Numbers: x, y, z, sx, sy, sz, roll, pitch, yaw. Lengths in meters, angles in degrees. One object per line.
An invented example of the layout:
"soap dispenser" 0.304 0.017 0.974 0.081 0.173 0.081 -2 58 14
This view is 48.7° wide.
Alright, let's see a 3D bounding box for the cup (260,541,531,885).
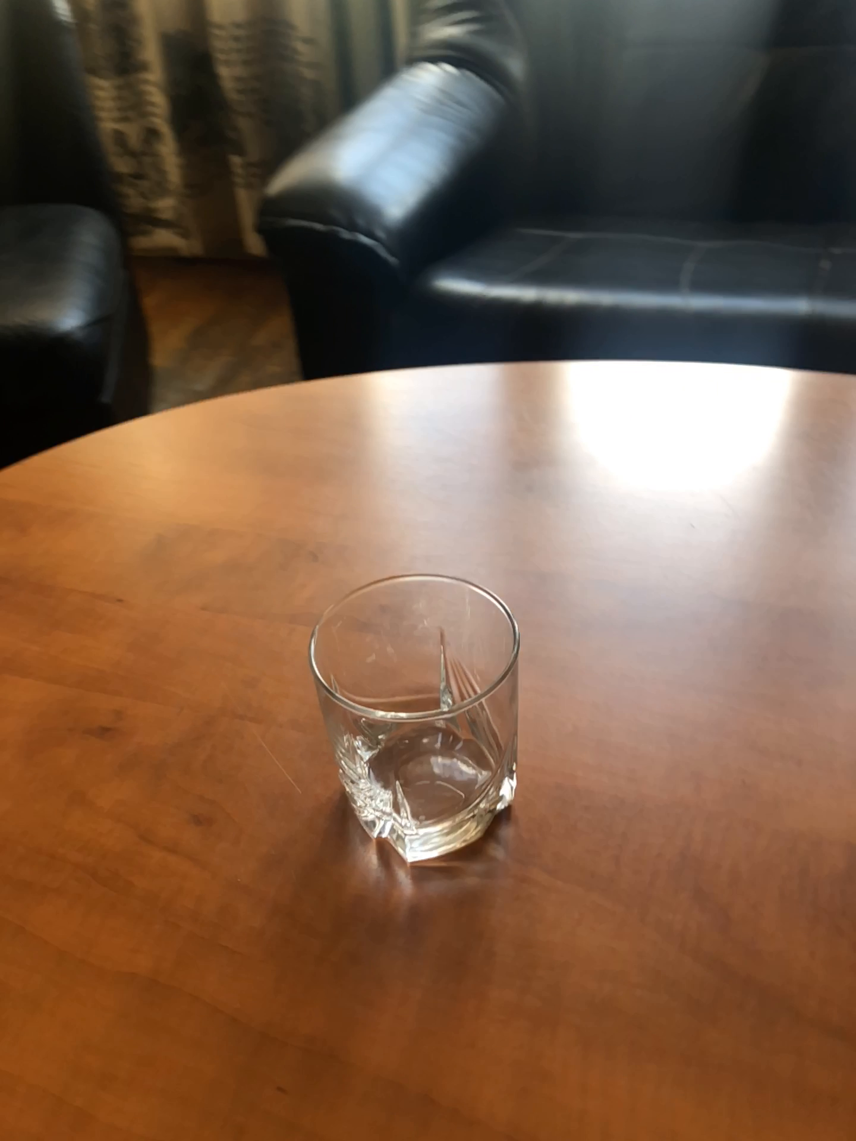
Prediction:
"cup" -0.009 0.054 0.373 0.089 0.086 0.095 -3 37 2
